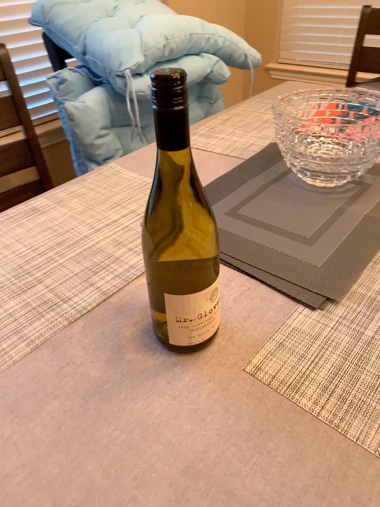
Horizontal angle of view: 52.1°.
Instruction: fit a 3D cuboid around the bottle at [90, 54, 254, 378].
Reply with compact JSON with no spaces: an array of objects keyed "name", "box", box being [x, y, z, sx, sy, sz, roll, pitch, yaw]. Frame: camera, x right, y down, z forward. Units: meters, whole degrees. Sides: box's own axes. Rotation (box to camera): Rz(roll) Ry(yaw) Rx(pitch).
[{"name":"bottle","box":[-0.010,-0.022,0.388,0.090,0.298,0.090,-2,37,1]}]
